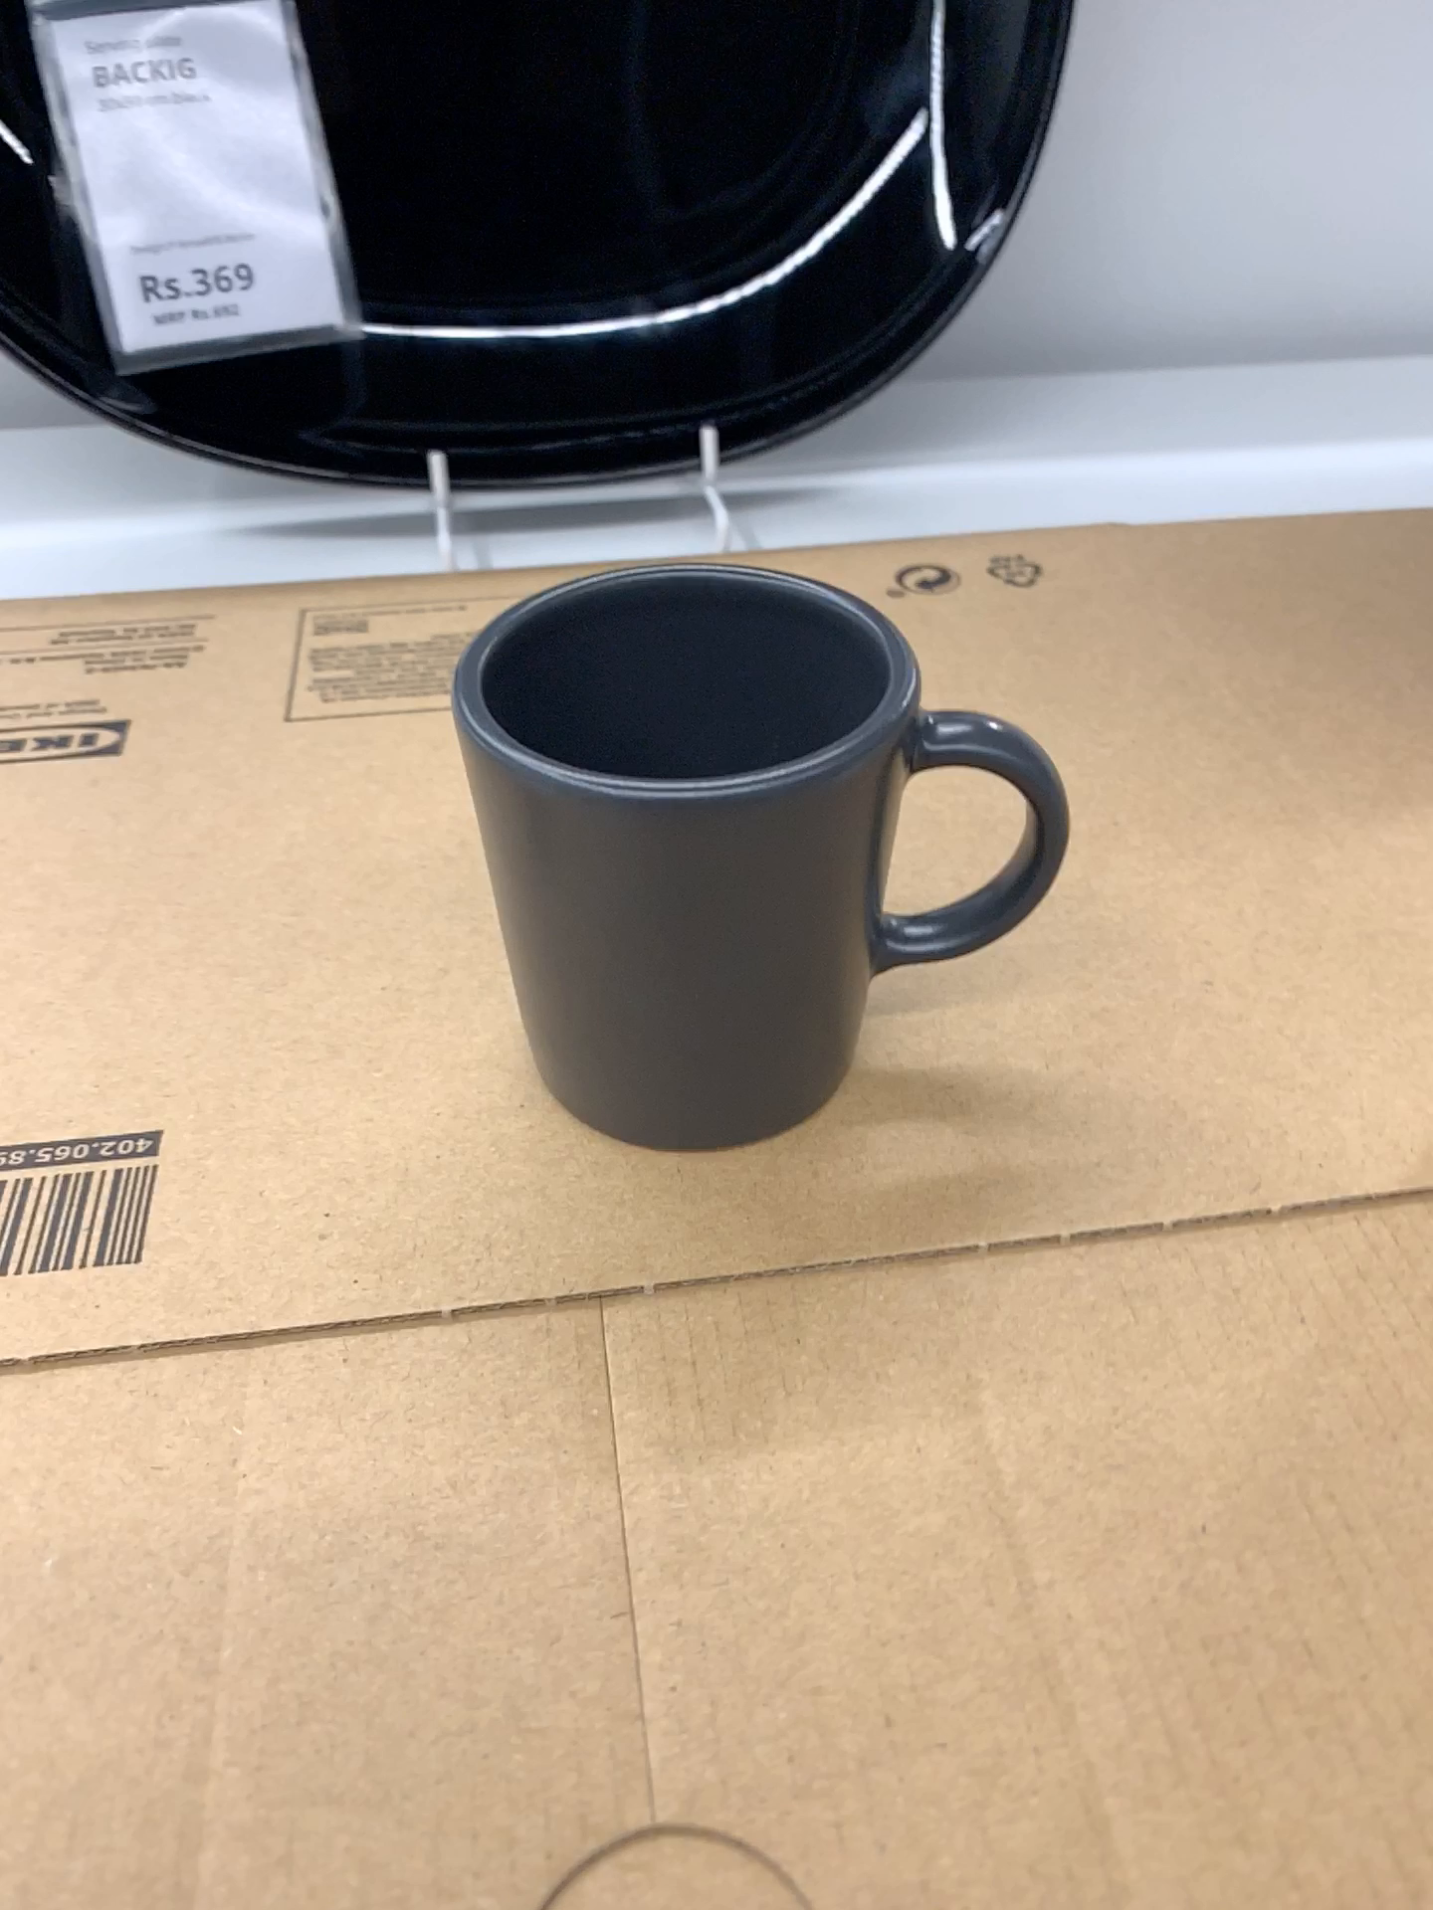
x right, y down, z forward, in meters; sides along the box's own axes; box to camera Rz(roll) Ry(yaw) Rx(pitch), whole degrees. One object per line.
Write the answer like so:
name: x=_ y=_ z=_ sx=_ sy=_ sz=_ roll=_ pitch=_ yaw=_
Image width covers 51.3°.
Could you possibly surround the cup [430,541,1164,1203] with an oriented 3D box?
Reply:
cup: x=0.009 y=-0.012 z=0.208 sx=0.080 sy=0.070 sz=0.060 roll=0 pitch=37 yaw=1
